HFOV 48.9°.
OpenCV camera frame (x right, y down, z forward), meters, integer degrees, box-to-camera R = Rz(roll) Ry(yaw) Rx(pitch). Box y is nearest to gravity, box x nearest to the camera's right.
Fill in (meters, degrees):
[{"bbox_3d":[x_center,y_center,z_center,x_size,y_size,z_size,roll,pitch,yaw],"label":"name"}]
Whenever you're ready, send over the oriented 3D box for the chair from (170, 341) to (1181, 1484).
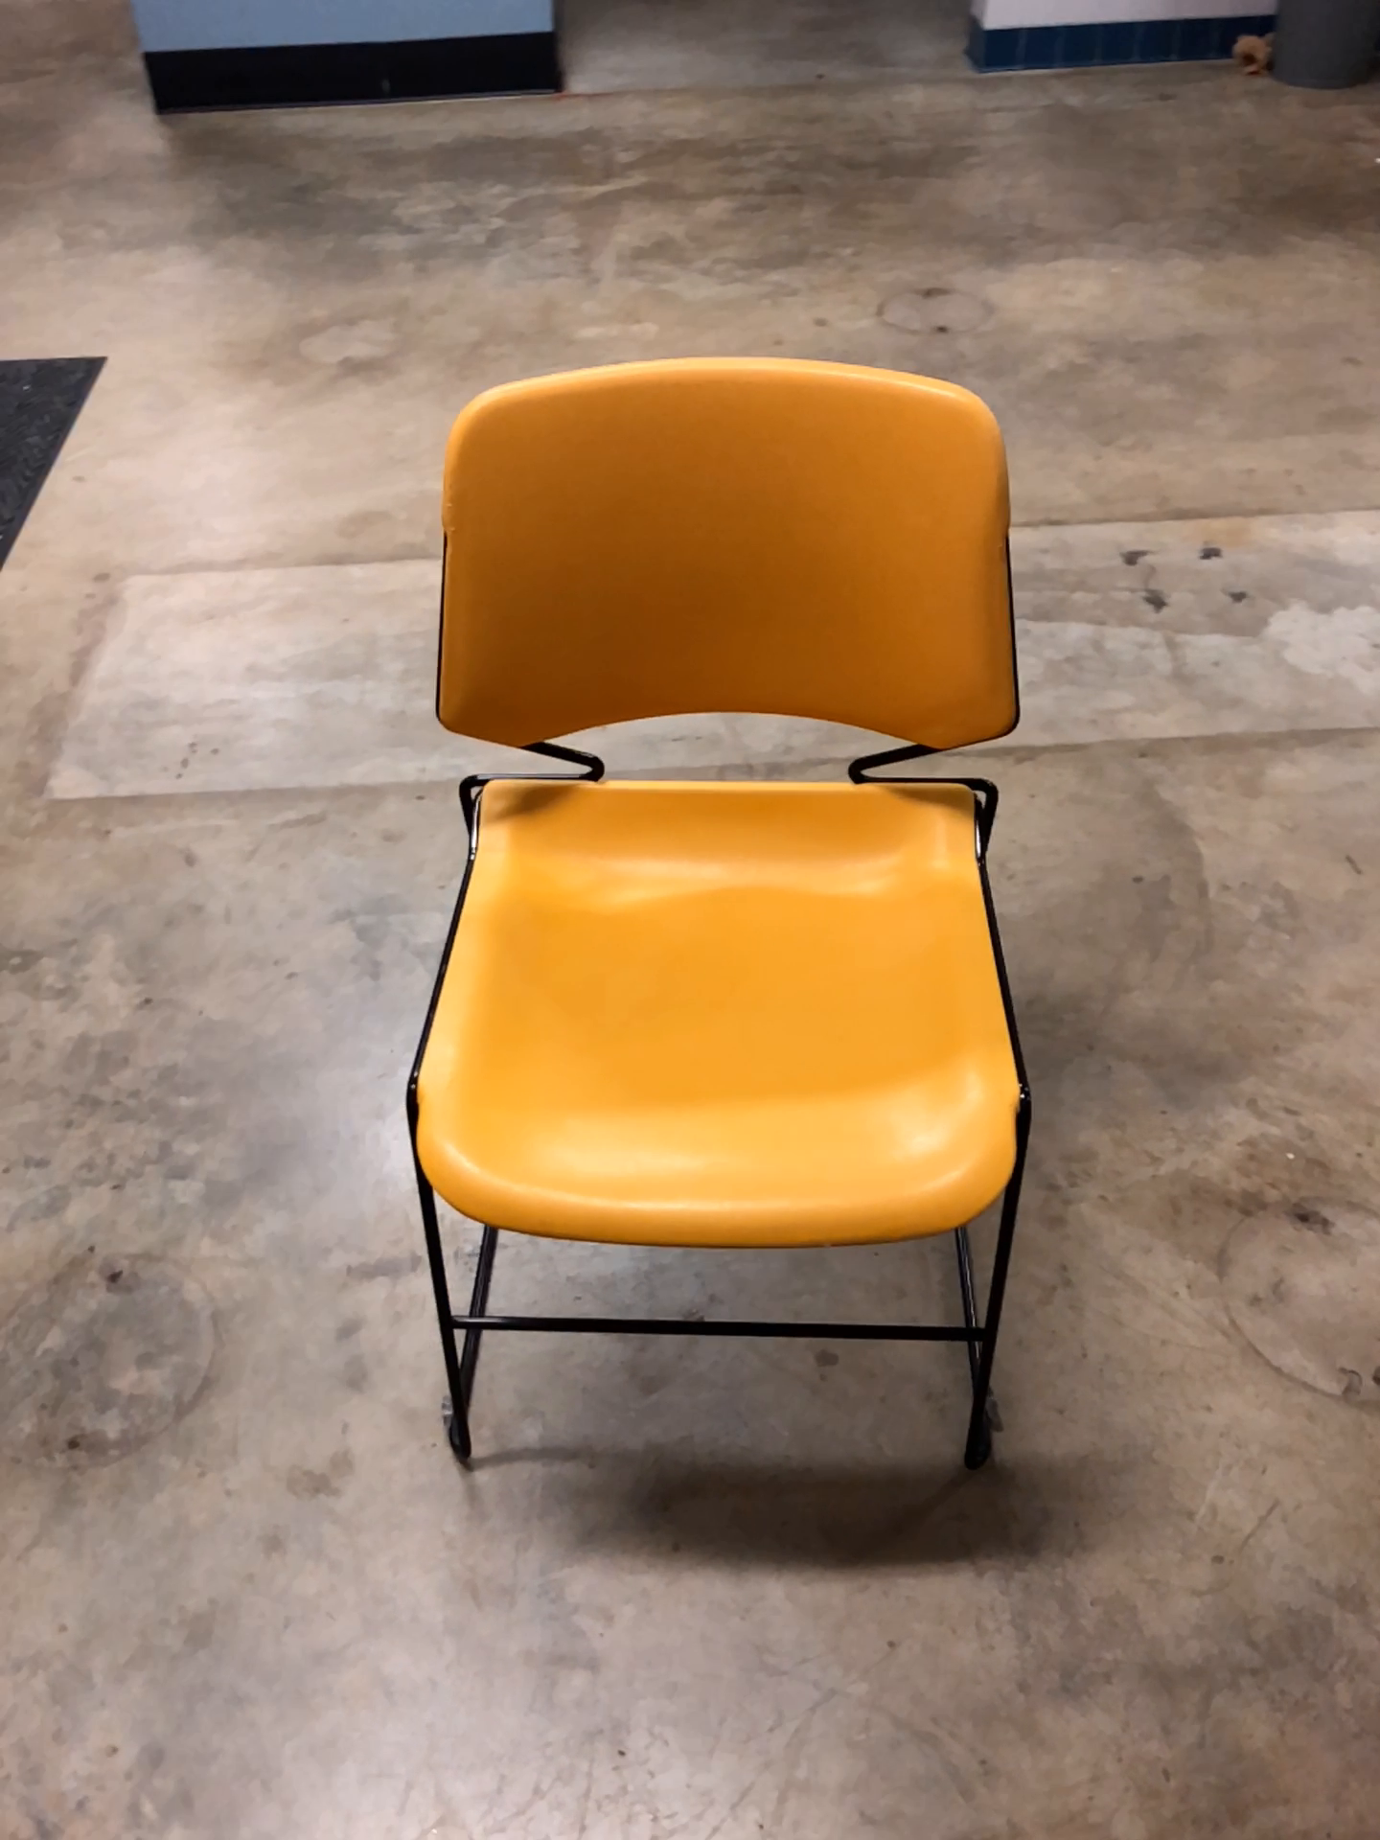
[{"bbox_3d":[0.011,0.028,1.258,0.529,0.796,0.526,0,44,3],"label":"chair"}]
